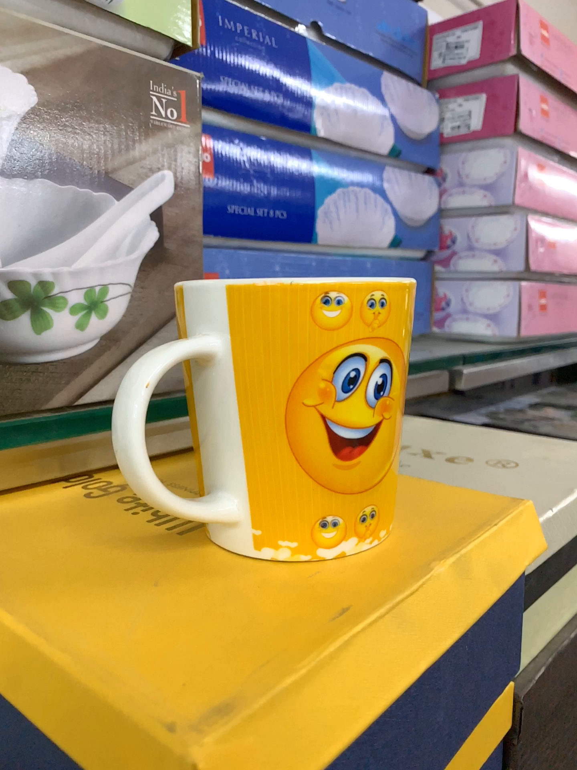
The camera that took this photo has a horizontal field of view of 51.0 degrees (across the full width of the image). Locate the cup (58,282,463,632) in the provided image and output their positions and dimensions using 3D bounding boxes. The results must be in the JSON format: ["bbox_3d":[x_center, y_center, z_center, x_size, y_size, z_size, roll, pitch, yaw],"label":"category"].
[{"bbox_3d":[-0.009,0.011,0.214,0.120,0.090,0.070,-5,10,-35],"label":"cup"}]
